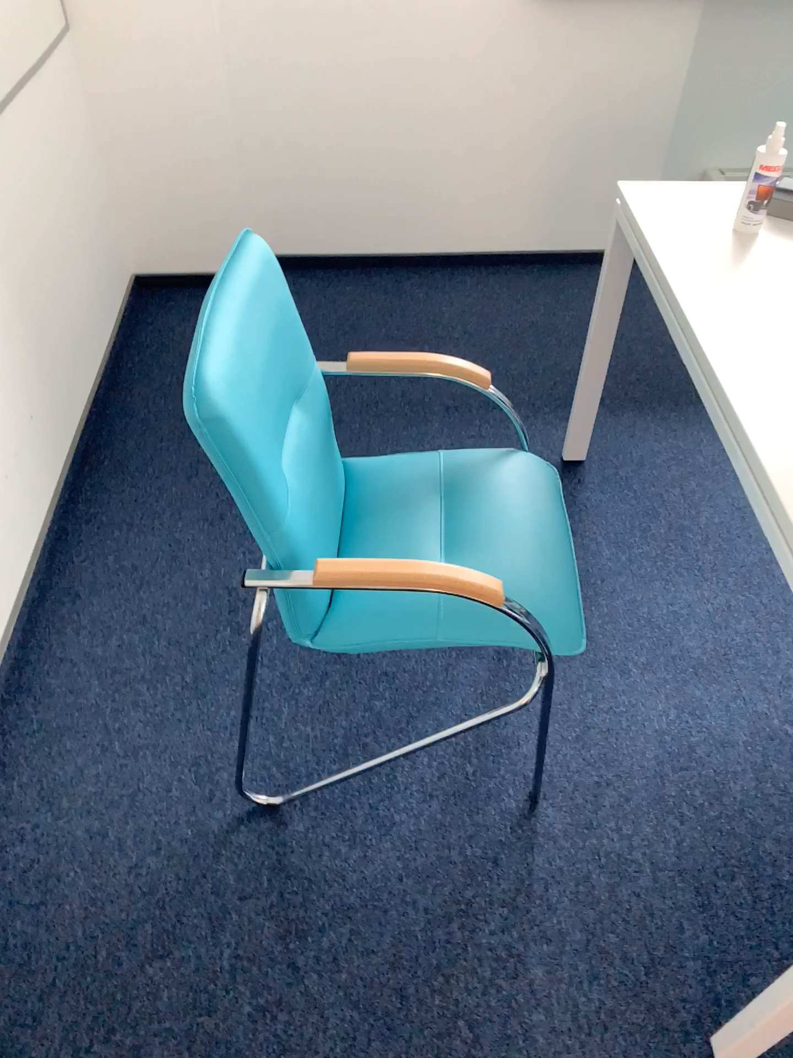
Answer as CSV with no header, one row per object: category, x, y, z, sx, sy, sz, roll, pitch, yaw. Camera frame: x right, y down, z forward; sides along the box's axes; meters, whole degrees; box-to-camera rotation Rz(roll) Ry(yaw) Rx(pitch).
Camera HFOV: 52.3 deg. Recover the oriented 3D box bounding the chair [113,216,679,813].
chair,0.001,0.020,1.463,0.650,0.925,0.583,1,46,1
